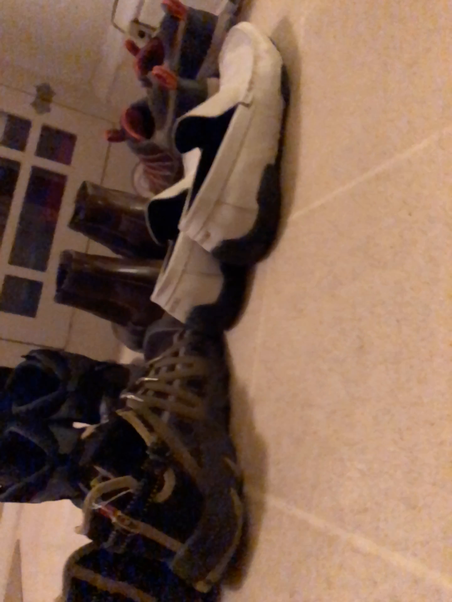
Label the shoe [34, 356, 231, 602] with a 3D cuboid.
[{"bbox_3d":[-0.104,0.191,0.515,0.294,0.123,0.110,-118,46,-61],"label":"shoe"}]

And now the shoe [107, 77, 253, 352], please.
[{"bbox_3d":[-0.051,-0.109,0.587,0.110,0.113,0.304,127,150,-47],"label":"shoe"}]

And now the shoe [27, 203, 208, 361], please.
[{"bbox_3d":[-0.184,-0.005,0.773,0.324,0.192,0.110,147,134,-62],"label":"shoe"}]

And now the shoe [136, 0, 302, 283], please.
[{"bbox_3d":[-0.003,-0.188,0.516,0.110,0.113,0.304,136,143,-55],"label":"shoe"}]

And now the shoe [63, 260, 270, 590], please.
[{"bbox_3d":[-0.068,0.098,0.488,0.294,0.123,0.110,-104,34,-53],"label":"shoe"}]

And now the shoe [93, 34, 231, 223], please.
[{"bbox_3d":[-0.114,-0.240,0.779,0.314,0.113,0.110,153,128,-64],"label":"shoe"}]

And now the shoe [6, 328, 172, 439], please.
[{"bbox_3d":[-0.233,0.137,0.801,0.324,0.192,0.110,156,126,-65],"label":"shoe"}]

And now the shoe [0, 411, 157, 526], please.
[{"bbox_3d":[-0.249,0.249,0.748,0.324,0.192,0.110,145,135,-61],"label":"shoe"}]

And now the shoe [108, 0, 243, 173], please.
[{"bbox_3d":[-0.097,-0.341,0.815,0.314,0.113,0.110,153,128,-64],"label":"shoe"}]

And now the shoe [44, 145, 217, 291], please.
[{"bbox_3d":[-0.171,-0.107,0.801,0.324,0.192,0.110,168,114,-68],"label":"shoe"}]
